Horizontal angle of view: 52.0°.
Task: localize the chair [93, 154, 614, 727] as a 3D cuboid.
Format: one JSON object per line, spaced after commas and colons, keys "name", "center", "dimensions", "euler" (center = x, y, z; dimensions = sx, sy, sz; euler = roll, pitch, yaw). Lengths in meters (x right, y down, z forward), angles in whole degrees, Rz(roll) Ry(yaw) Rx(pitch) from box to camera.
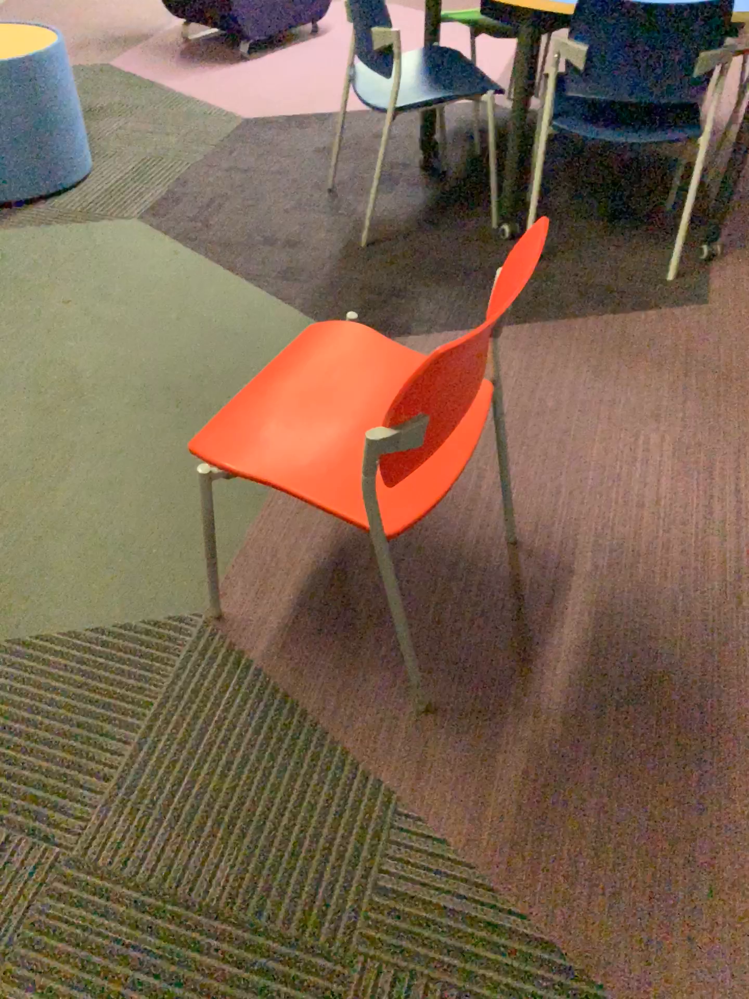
{"name": "chair", "center": [-0.015, -0.117, 1.365], "dimensions": [0.562, 0.684, 0.543], "euler": [24, 49, 22]}
